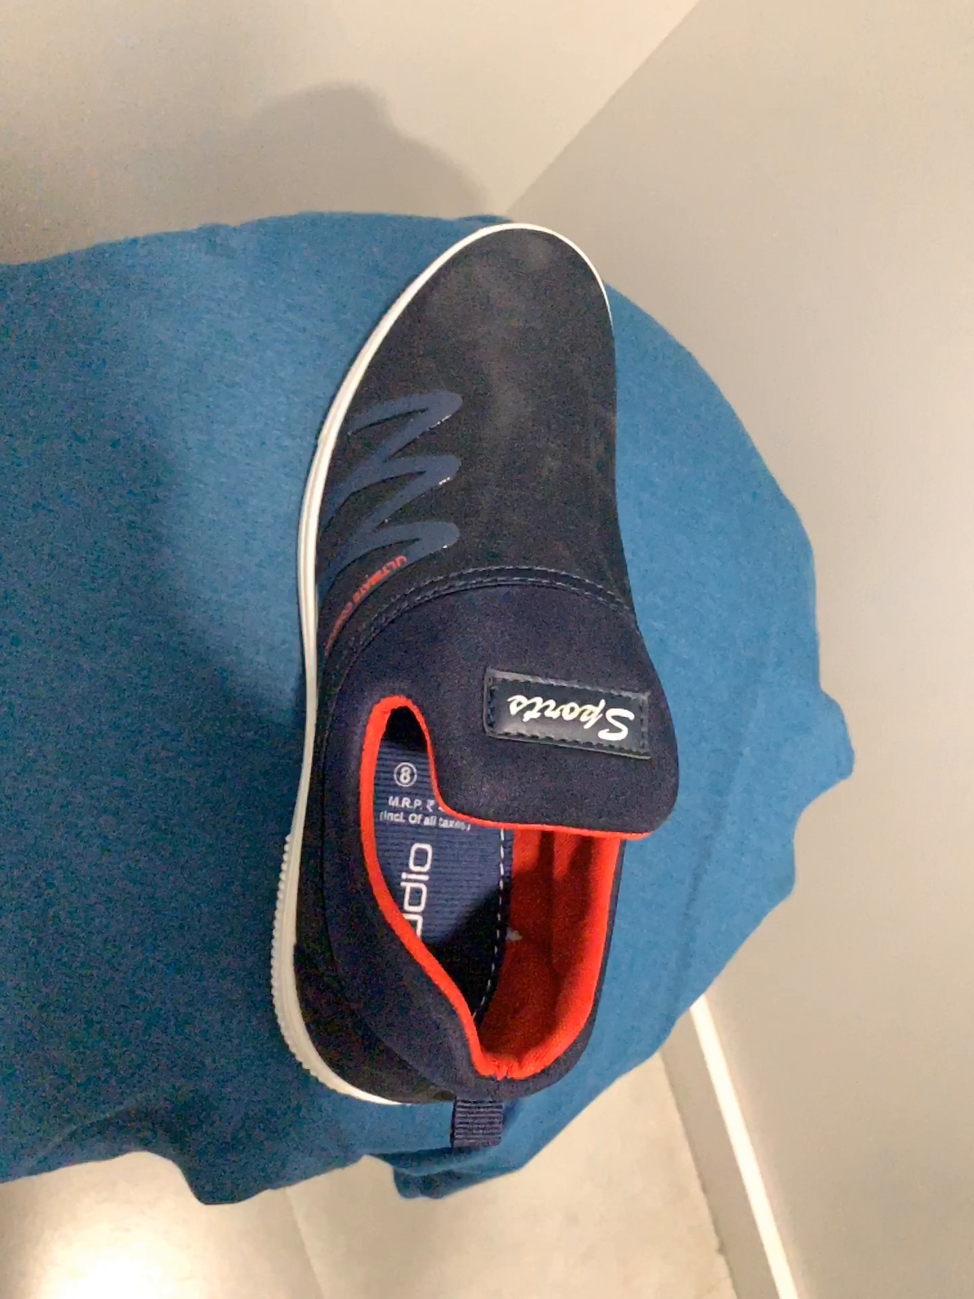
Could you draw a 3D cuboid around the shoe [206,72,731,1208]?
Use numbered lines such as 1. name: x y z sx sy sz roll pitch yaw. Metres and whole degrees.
1. shoe: -0.008 -0.001 0.290 0.090 0.100 0.260 10 82 -23
